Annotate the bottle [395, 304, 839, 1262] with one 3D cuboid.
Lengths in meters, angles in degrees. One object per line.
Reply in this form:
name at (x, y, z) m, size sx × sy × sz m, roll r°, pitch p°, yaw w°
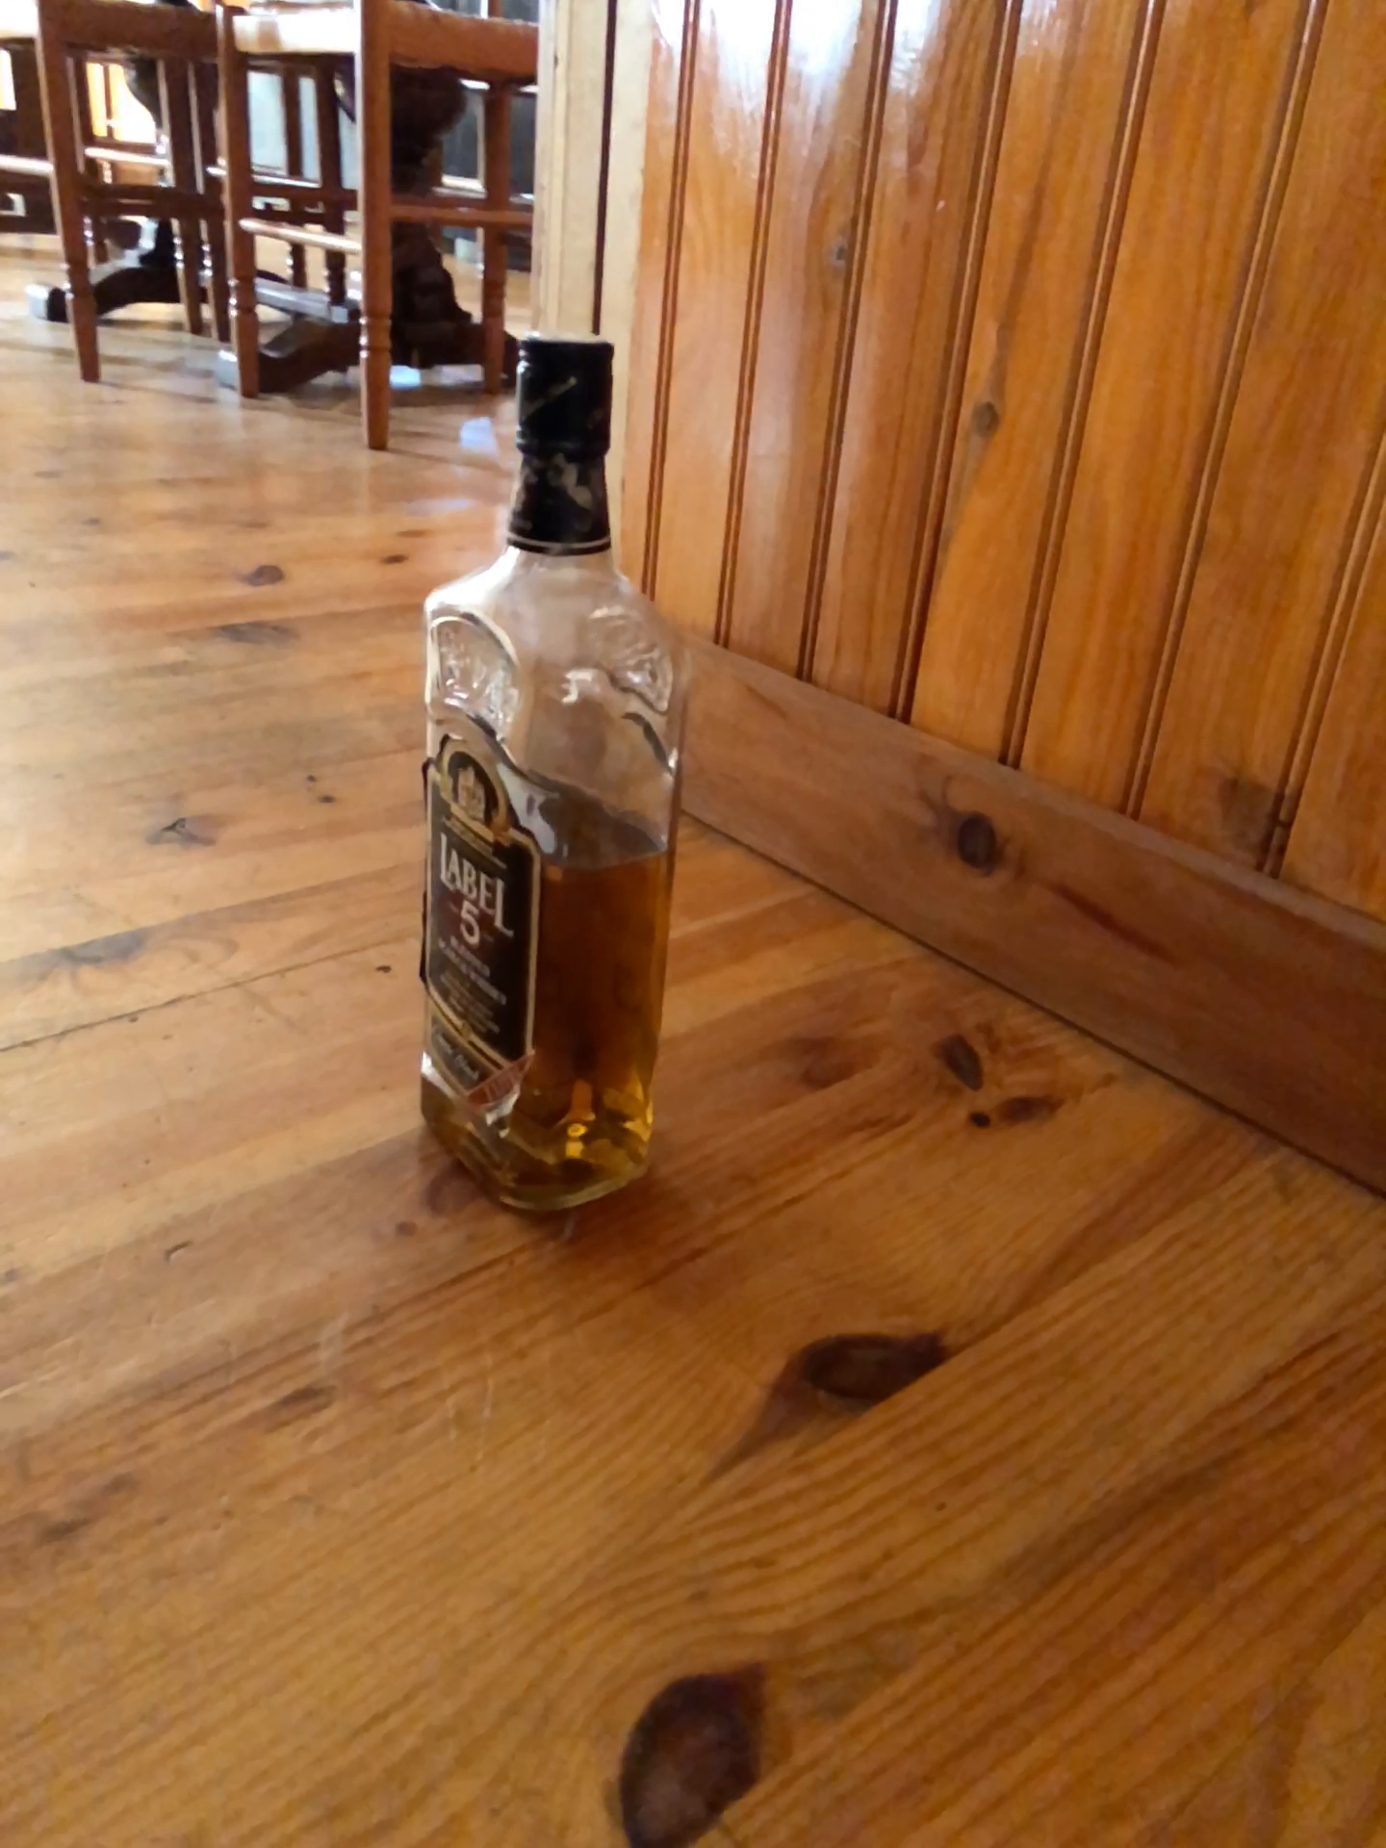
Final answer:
bottle at (-0.038, -0.047, 0.514) m, size 0.080 × 0.288 × 0.120 m, roll -13°, pitch 32°, yaw -33°
